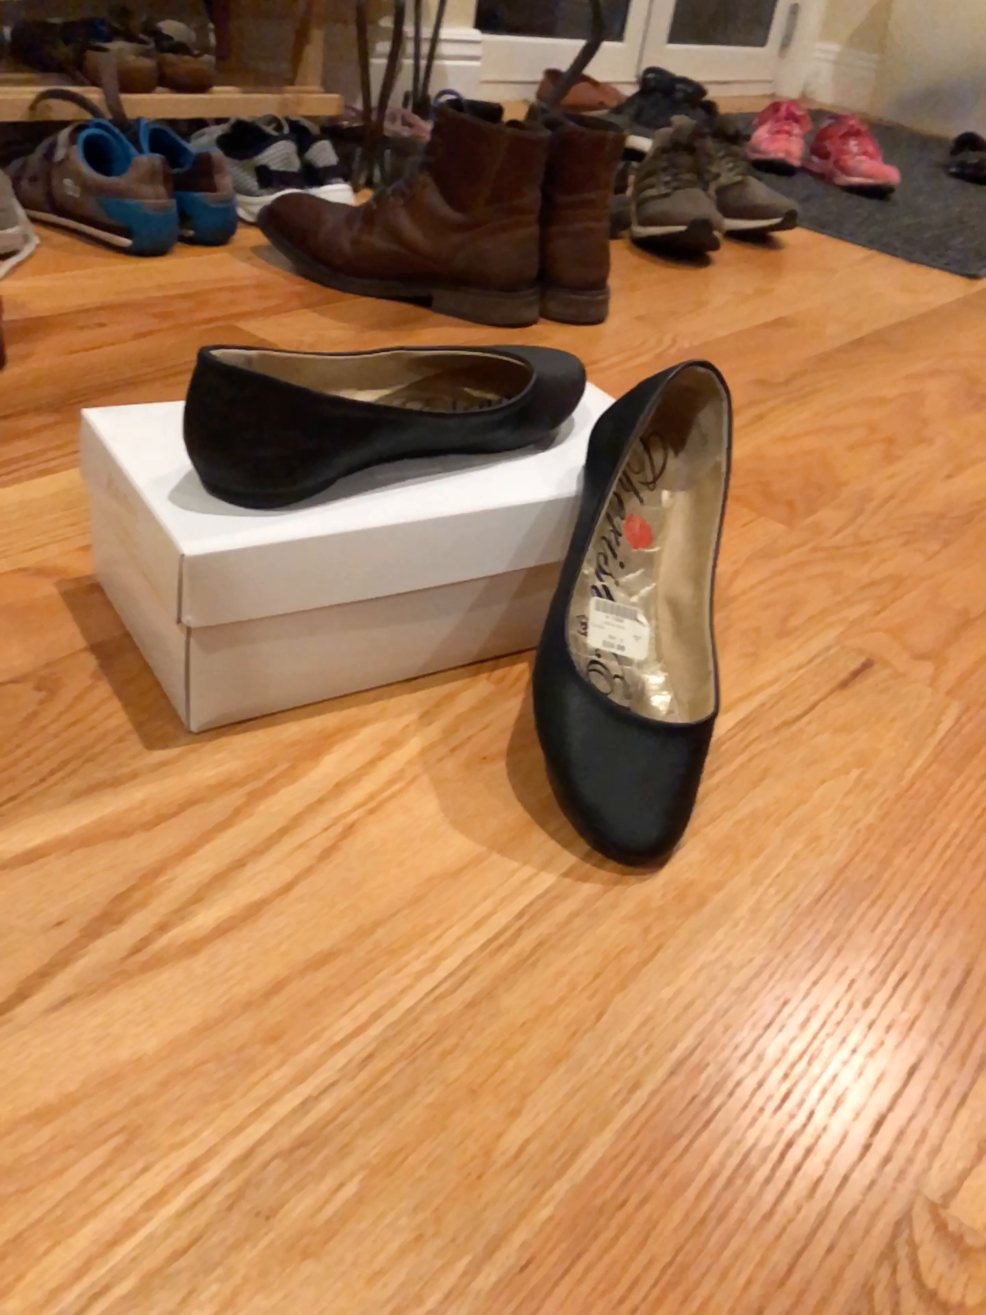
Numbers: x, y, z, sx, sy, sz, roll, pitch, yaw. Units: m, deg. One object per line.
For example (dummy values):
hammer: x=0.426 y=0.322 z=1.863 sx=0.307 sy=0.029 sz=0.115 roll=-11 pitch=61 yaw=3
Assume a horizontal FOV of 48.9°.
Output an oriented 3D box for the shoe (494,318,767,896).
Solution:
shoe: x=0.065 y=-0.024 z=0.483 sx=0.076 sy=0.060 sz=0.240 roll=16 pitch=68 yaw=-17

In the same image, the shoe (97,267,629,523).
shoe: x=-0.050 y=-0.132 z=0.505 sx=0.240 sy=0.060 sz=0.076 roll=-22 pitch=45 yaw=-38
